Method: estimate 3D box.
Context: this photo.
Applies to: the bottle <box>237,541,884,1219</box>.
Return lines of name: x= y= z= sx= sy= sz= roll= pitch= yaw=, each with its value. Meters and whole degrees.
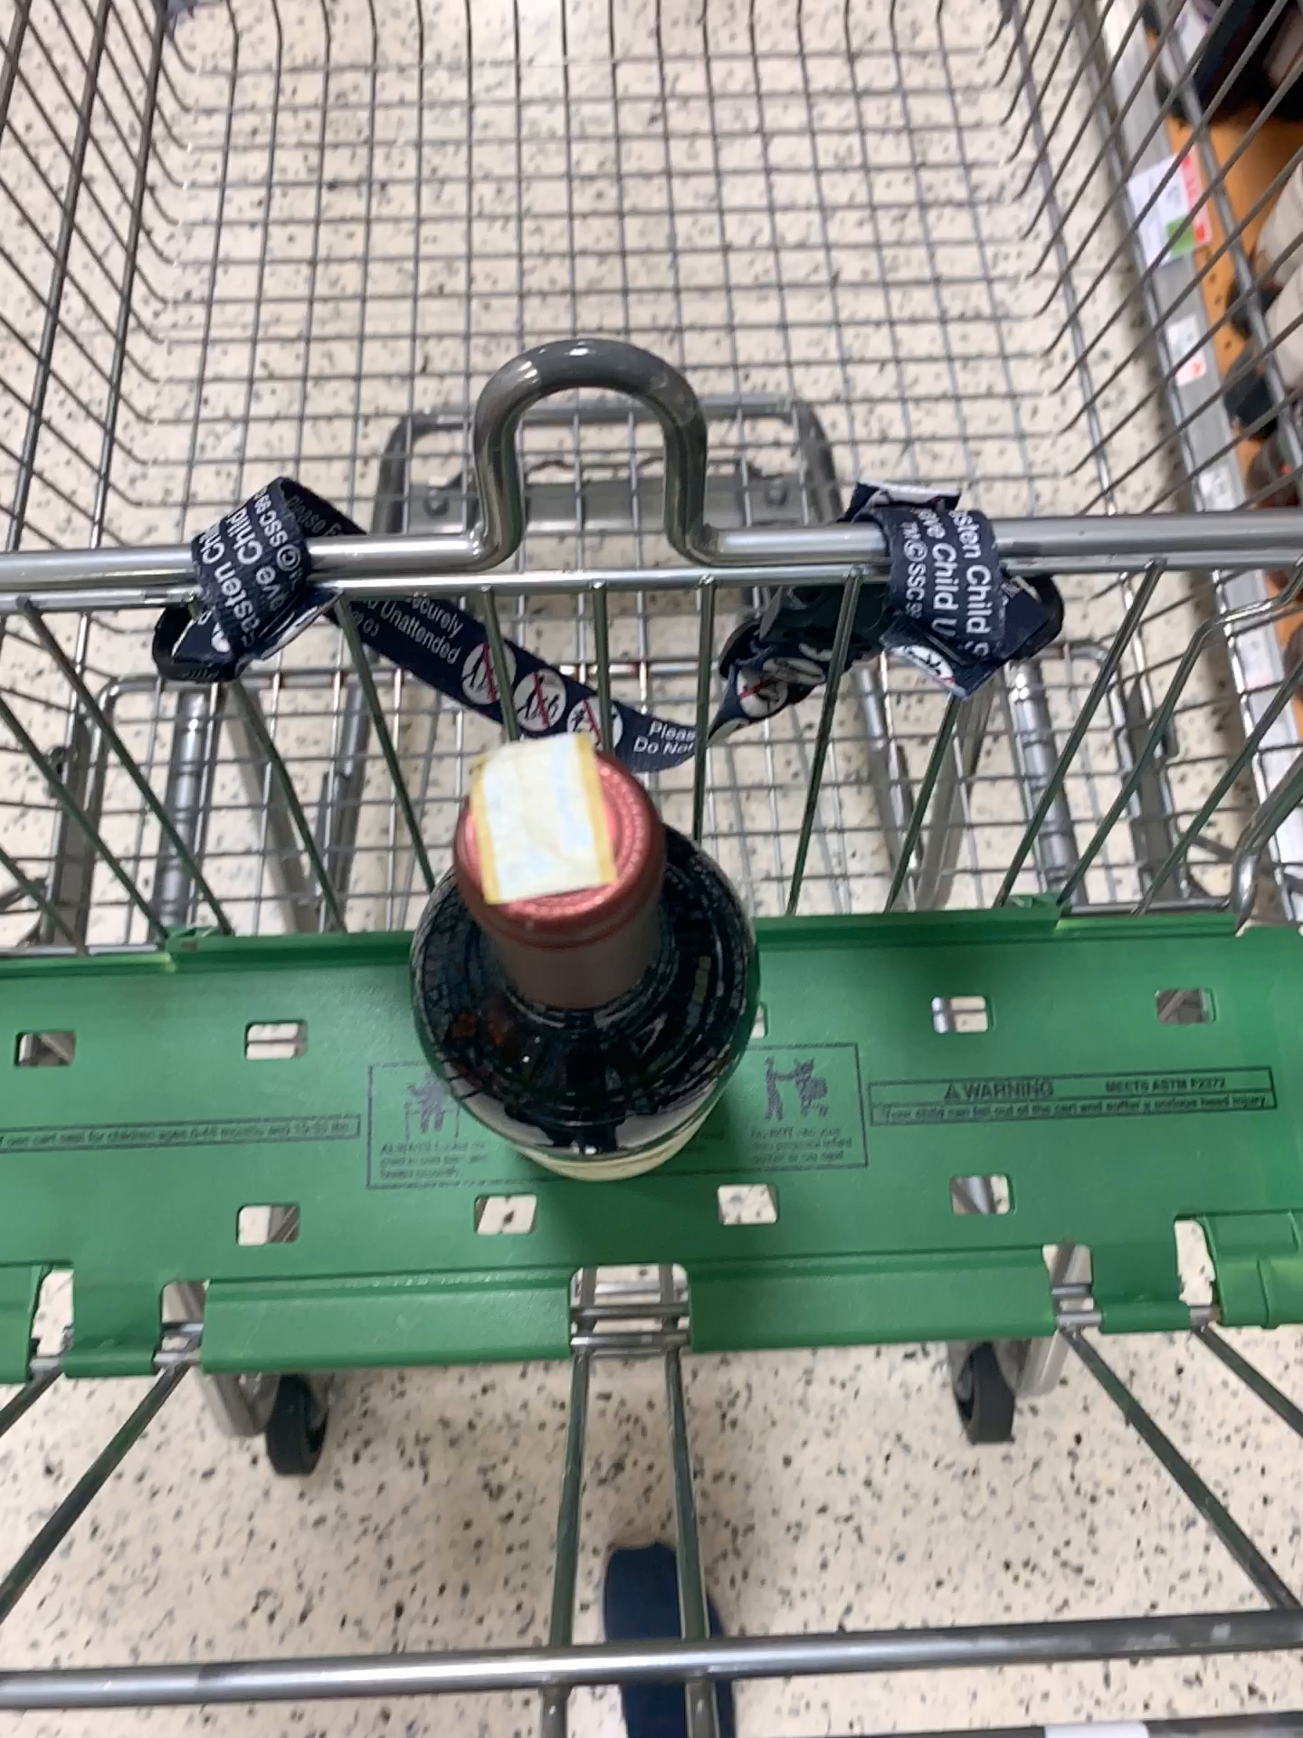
bottle: x=-0.015 y=0.032 z=0.307 sx=0.080 sy=0.269 sz=0.080 roll=0 pitch=74 yaw=0
